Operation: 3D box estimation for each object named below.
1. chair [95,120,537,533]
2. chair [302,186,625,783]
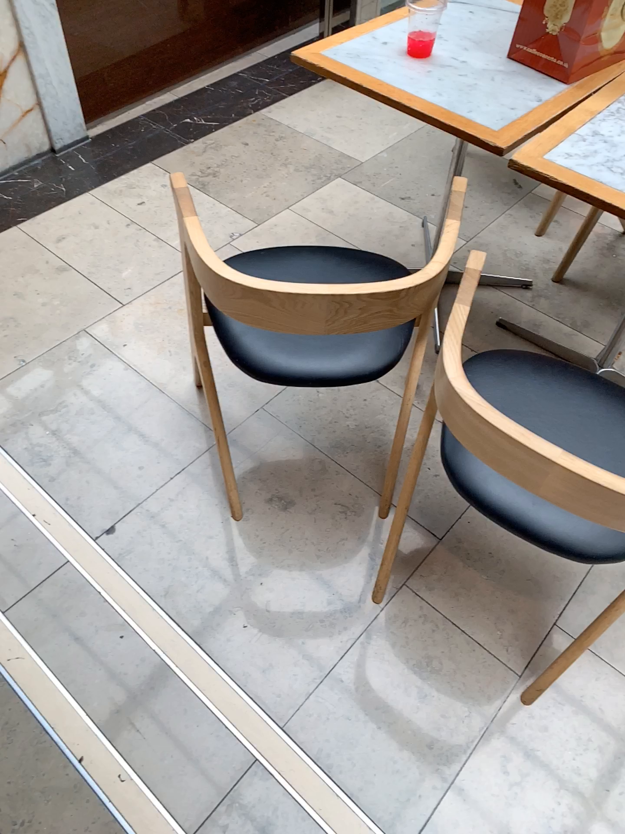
[{"bbox_3d":[-0.012,-0.157,1.354,0.643,0.708,0.503,-1,51,-3],"label":"chair"},{"bbox_3d":[0.400,0.133,1.139,0.635,0.718,0.532,29,55,20],"label":"chair"}]
